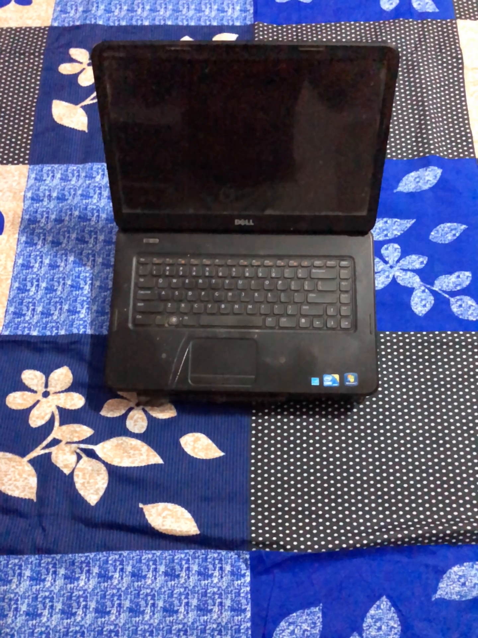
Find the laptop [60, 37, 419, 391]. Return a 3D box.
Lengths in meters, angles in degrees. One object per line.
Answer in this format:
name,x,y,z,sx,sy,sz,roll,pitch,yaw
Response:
laptop,0.006,-0.123,0.674,0.363,0.187,0.389,0,73,0
